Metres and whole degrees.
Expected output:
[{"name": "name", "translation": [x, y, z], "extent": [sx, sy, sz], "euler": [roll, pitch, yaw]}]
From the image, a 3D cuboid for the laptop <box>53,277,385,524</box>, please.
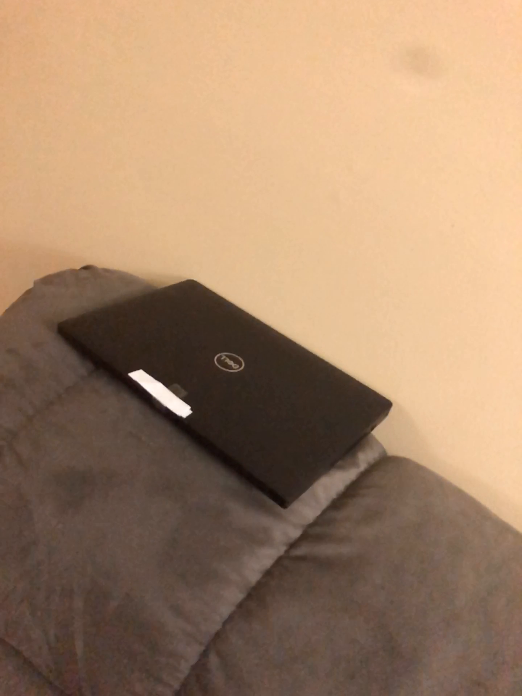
[{"name": "laptop", "translation": [-0.048, 0.029, 0.655], "extent": [0.326, 0.030, 0.215], "euler": [33, 36, 26]}]
